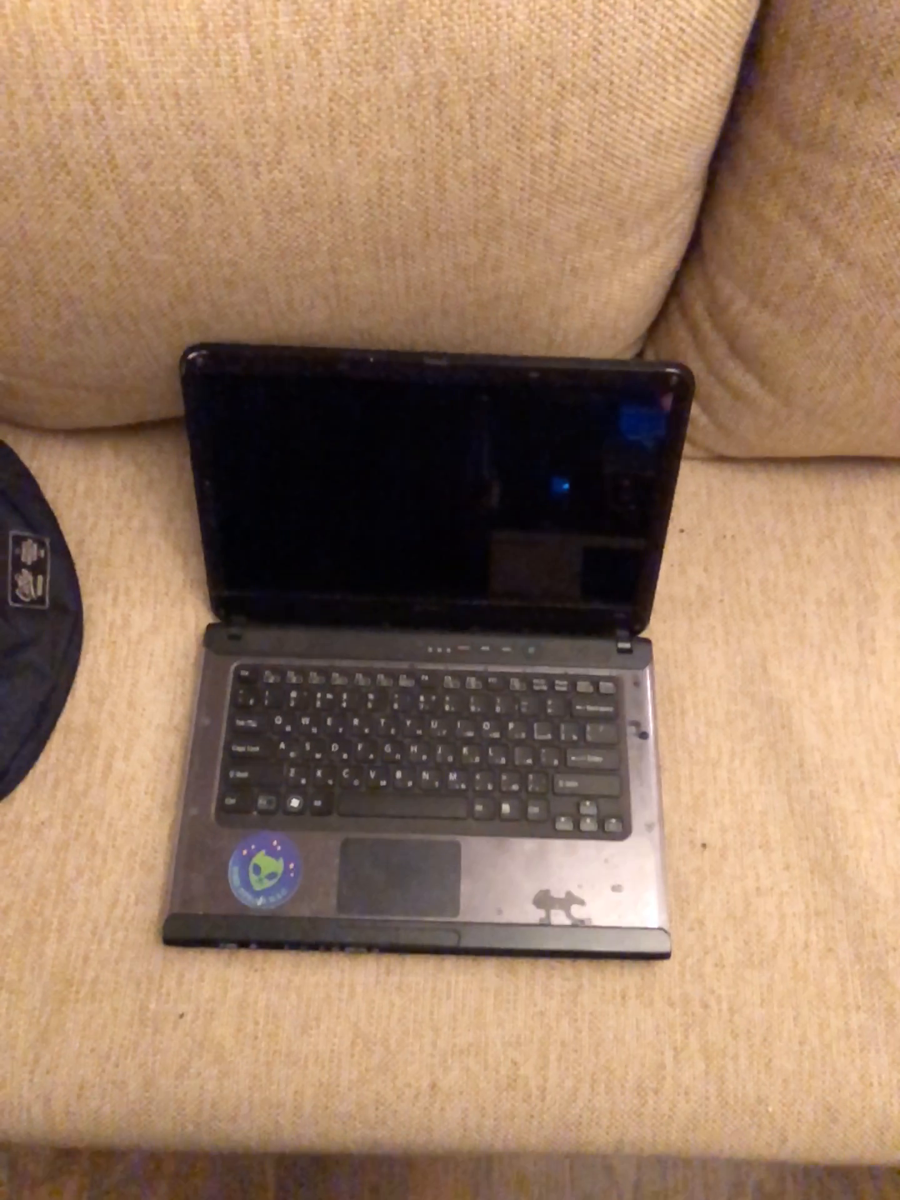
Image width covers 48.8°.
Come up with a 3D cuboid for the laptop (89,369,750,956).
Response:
[{"bbox_3d":[-0.014,0.045,0.659,0.338,0.175,0.350,2,67,-1],"label":"laptop"}]
